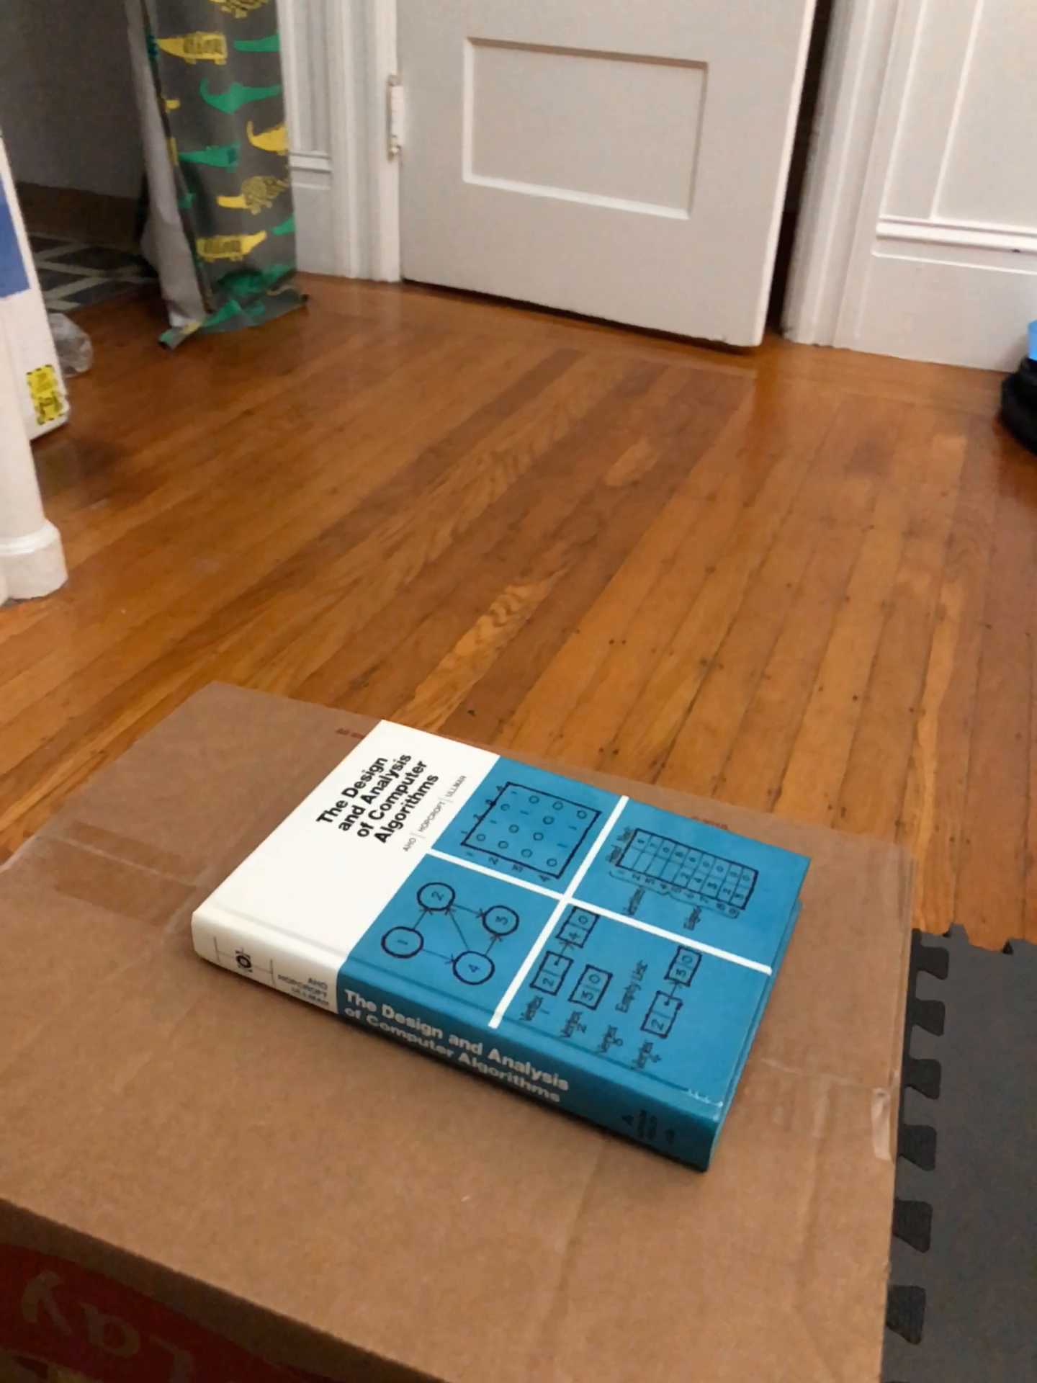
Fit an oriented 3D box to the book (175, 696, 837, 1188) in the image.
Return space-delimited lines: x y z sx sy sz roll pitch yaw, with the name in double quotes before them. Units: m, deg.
"book" 0.002 0.099 0.555 0.260 0.040 0.191 16 35 19
